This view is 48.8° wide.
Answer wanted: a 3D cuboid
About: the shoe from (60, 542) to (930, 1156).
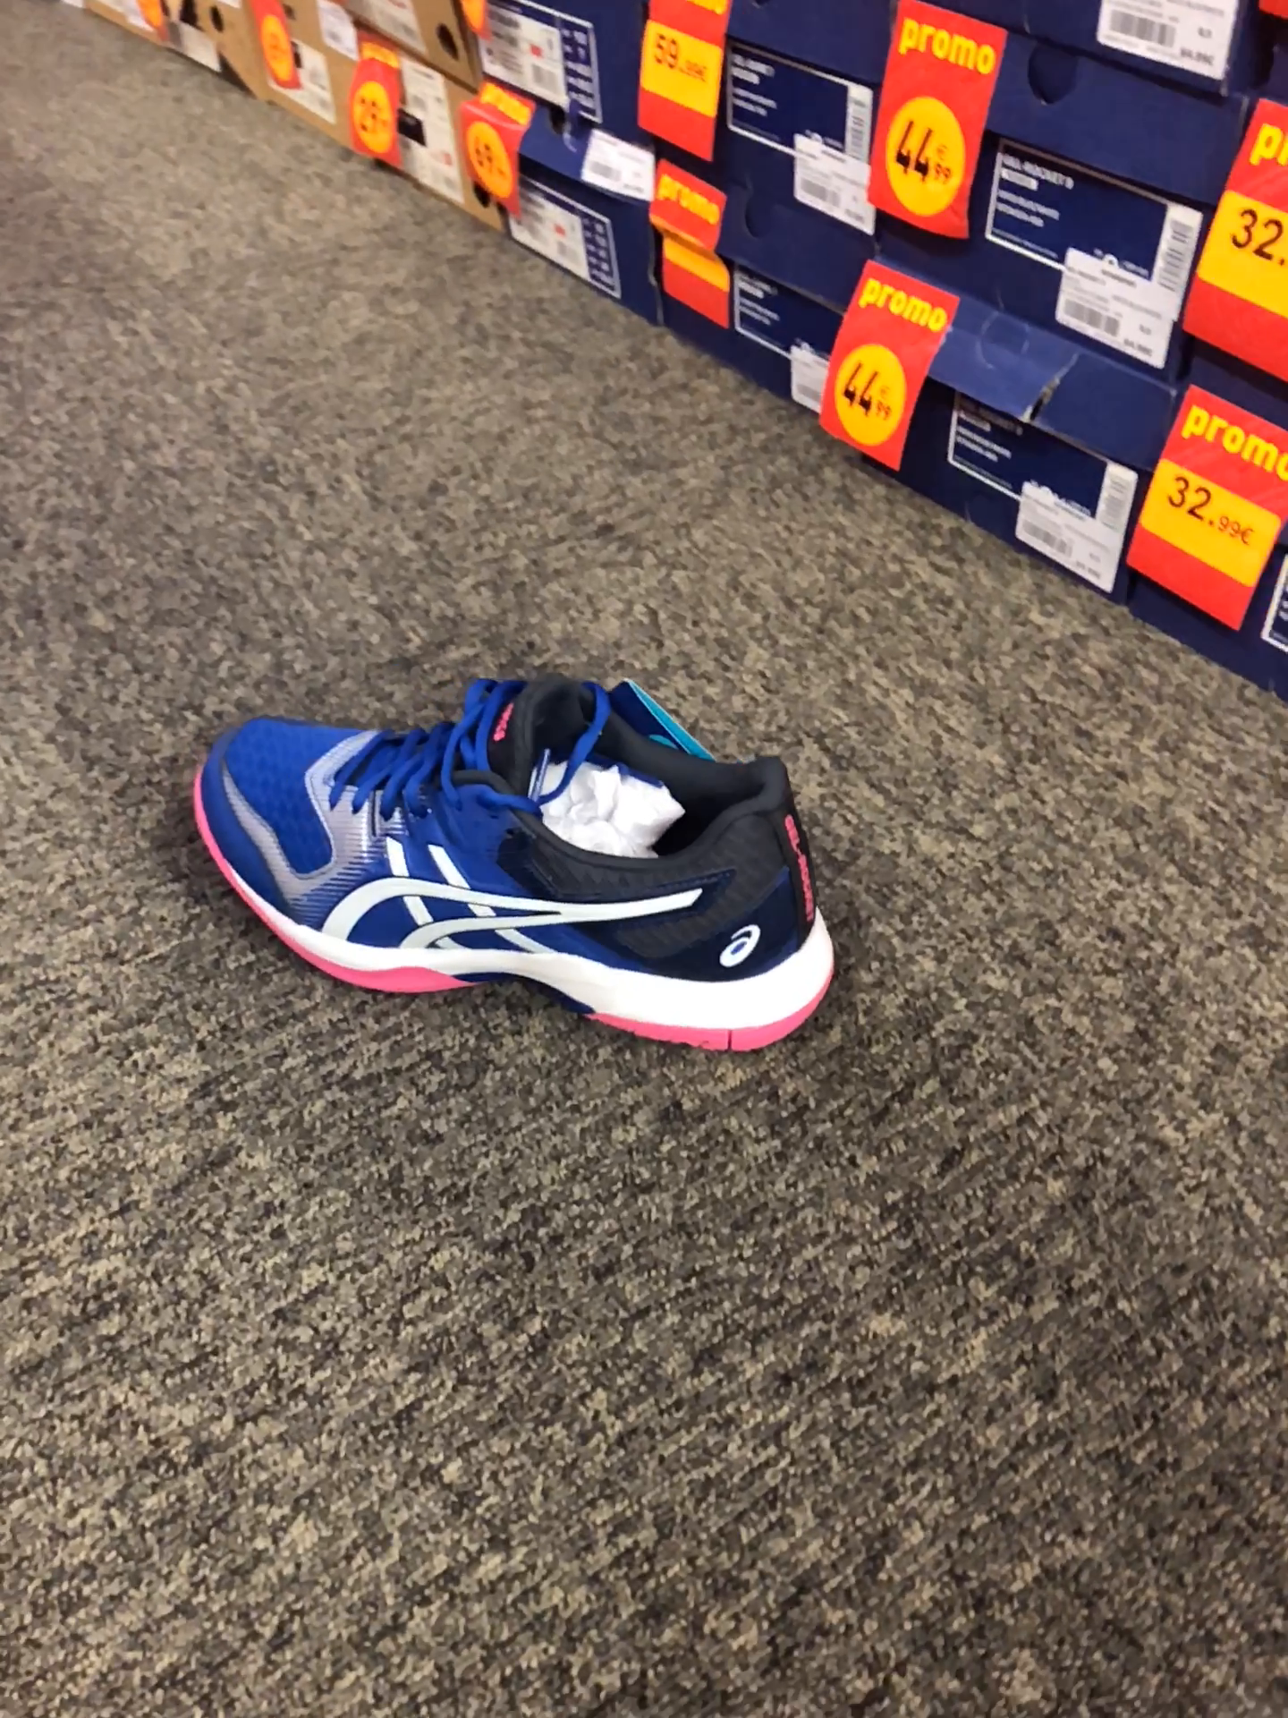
[{"bbox_3d":[-0.050,-0.014,0.519,0.270,0.099,0.126,16,48,19],"label":"shoe"}]
